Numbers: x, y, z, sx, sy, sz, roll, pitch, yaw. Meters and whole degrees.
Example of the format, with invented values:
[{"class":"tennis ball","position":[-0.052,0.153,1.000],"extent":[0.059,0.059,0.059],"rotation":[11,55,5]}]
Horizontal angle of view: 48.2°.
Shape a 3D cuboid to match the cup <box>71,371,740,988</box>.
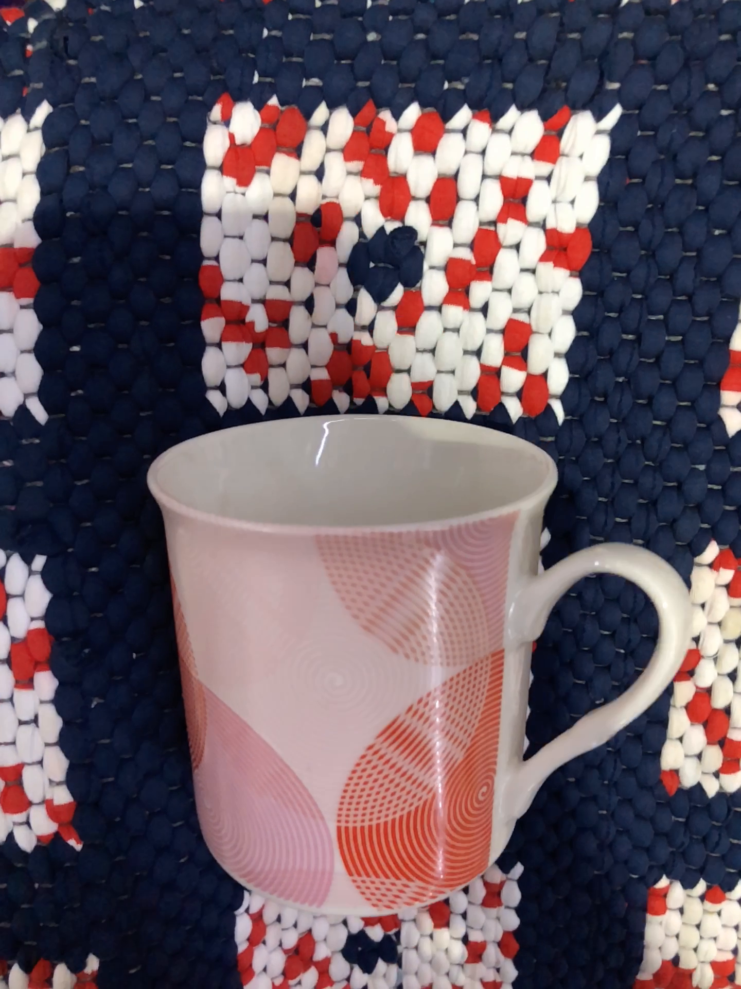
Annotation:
[{"class":"cup","position":[0.017,0.028,0.194],"extent":[0.120,0.100,0.100],"rotation":[6,105,25]}]
